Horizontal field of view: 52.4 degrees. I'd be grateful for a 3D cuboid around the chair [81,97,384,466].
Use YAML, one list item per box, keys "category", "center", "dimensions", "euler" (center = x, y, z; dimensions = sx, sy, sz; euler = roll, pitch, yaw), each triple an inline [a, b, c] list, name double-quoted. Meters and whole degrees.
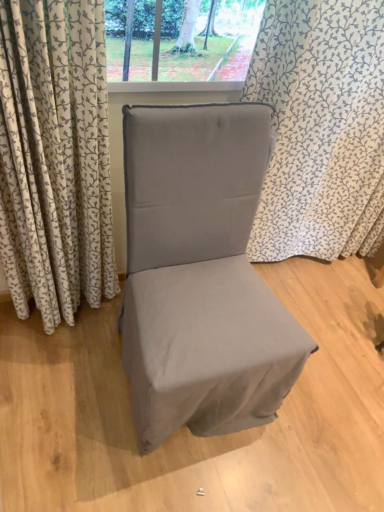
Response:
- category: "chair"
  center: [0.032, 0.084, 1.185]
  dimensions: [0.570, 0.876, 0.592]
  euler: [-9, 46, -19]
